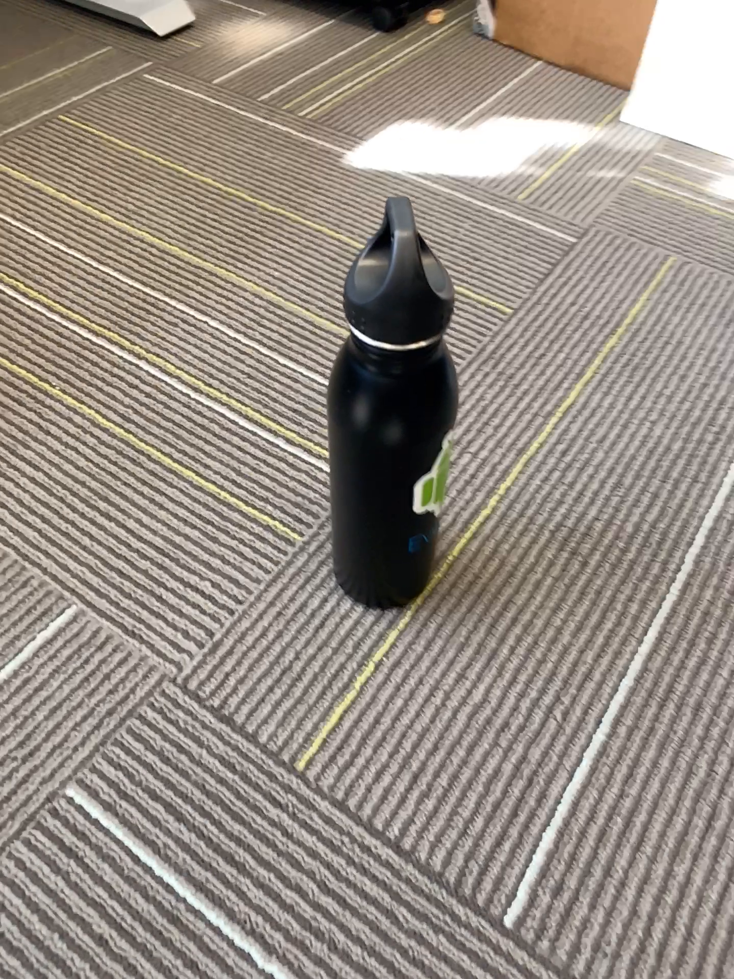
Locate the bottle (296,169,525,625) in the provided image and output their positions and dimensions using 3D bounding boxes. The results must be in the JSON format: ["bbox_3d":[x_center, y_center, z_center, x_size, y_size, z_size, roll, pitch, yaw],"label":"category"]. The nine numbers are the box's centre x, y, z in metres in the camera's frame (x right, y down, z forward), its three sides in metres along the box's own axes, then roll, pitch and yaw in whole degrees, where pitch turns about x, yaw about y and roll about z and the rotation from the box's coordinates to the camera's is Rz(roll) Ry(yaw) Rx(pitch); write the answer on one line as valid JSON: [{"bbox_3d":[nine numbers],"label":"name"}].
[{"bbox_3d":[0.018,-0.032,0.411,0.080,0.239,0.090,11,52,7],"label":"bottle"}]
